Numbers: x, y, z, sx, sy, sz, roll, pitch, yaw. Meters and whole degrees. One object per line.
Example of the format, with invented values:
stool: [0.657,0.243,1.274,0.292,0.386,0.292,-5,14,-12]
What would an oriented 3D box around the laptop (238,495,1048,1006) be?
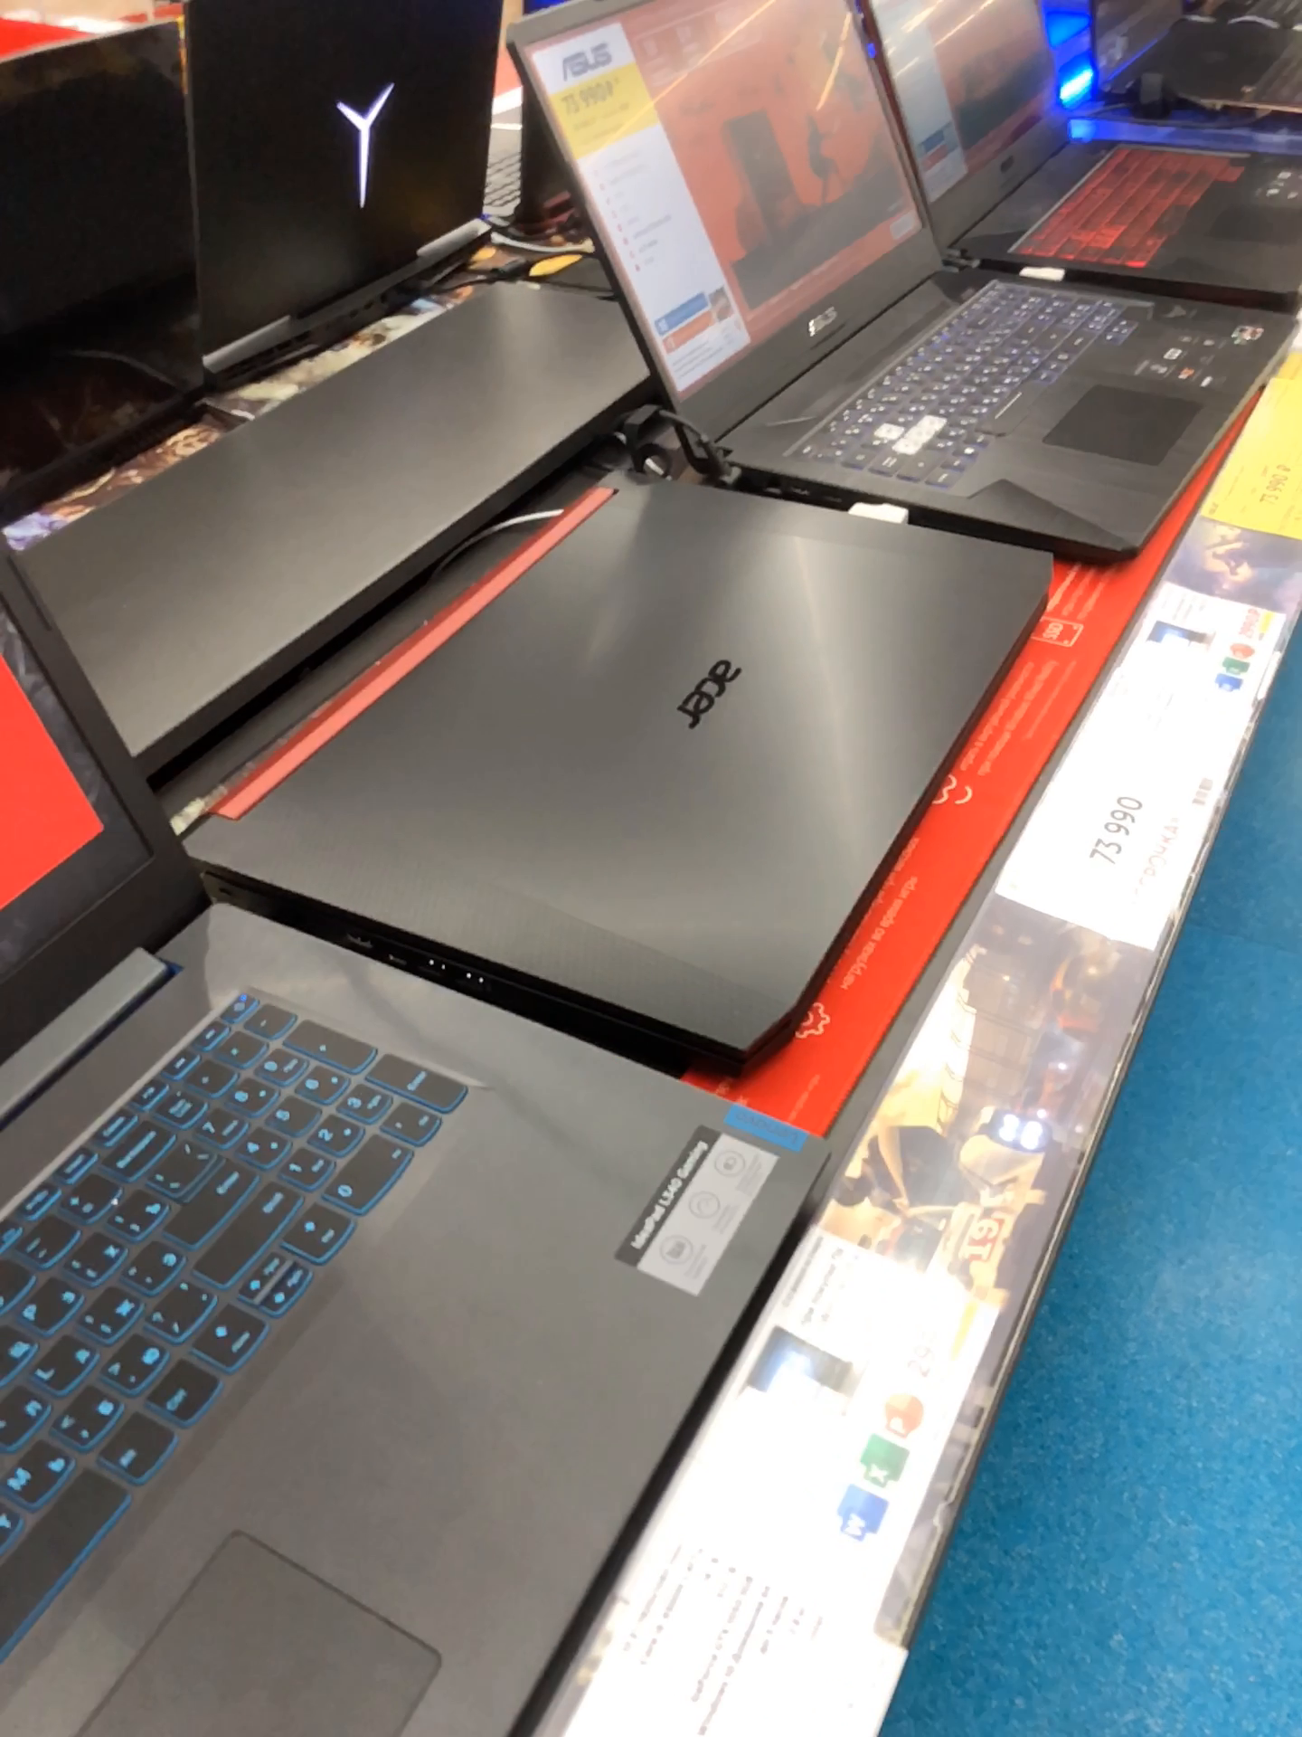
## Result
laptop: [0.021,-0.088,0.689,0.255,0.002,0.371,15,42,20]
